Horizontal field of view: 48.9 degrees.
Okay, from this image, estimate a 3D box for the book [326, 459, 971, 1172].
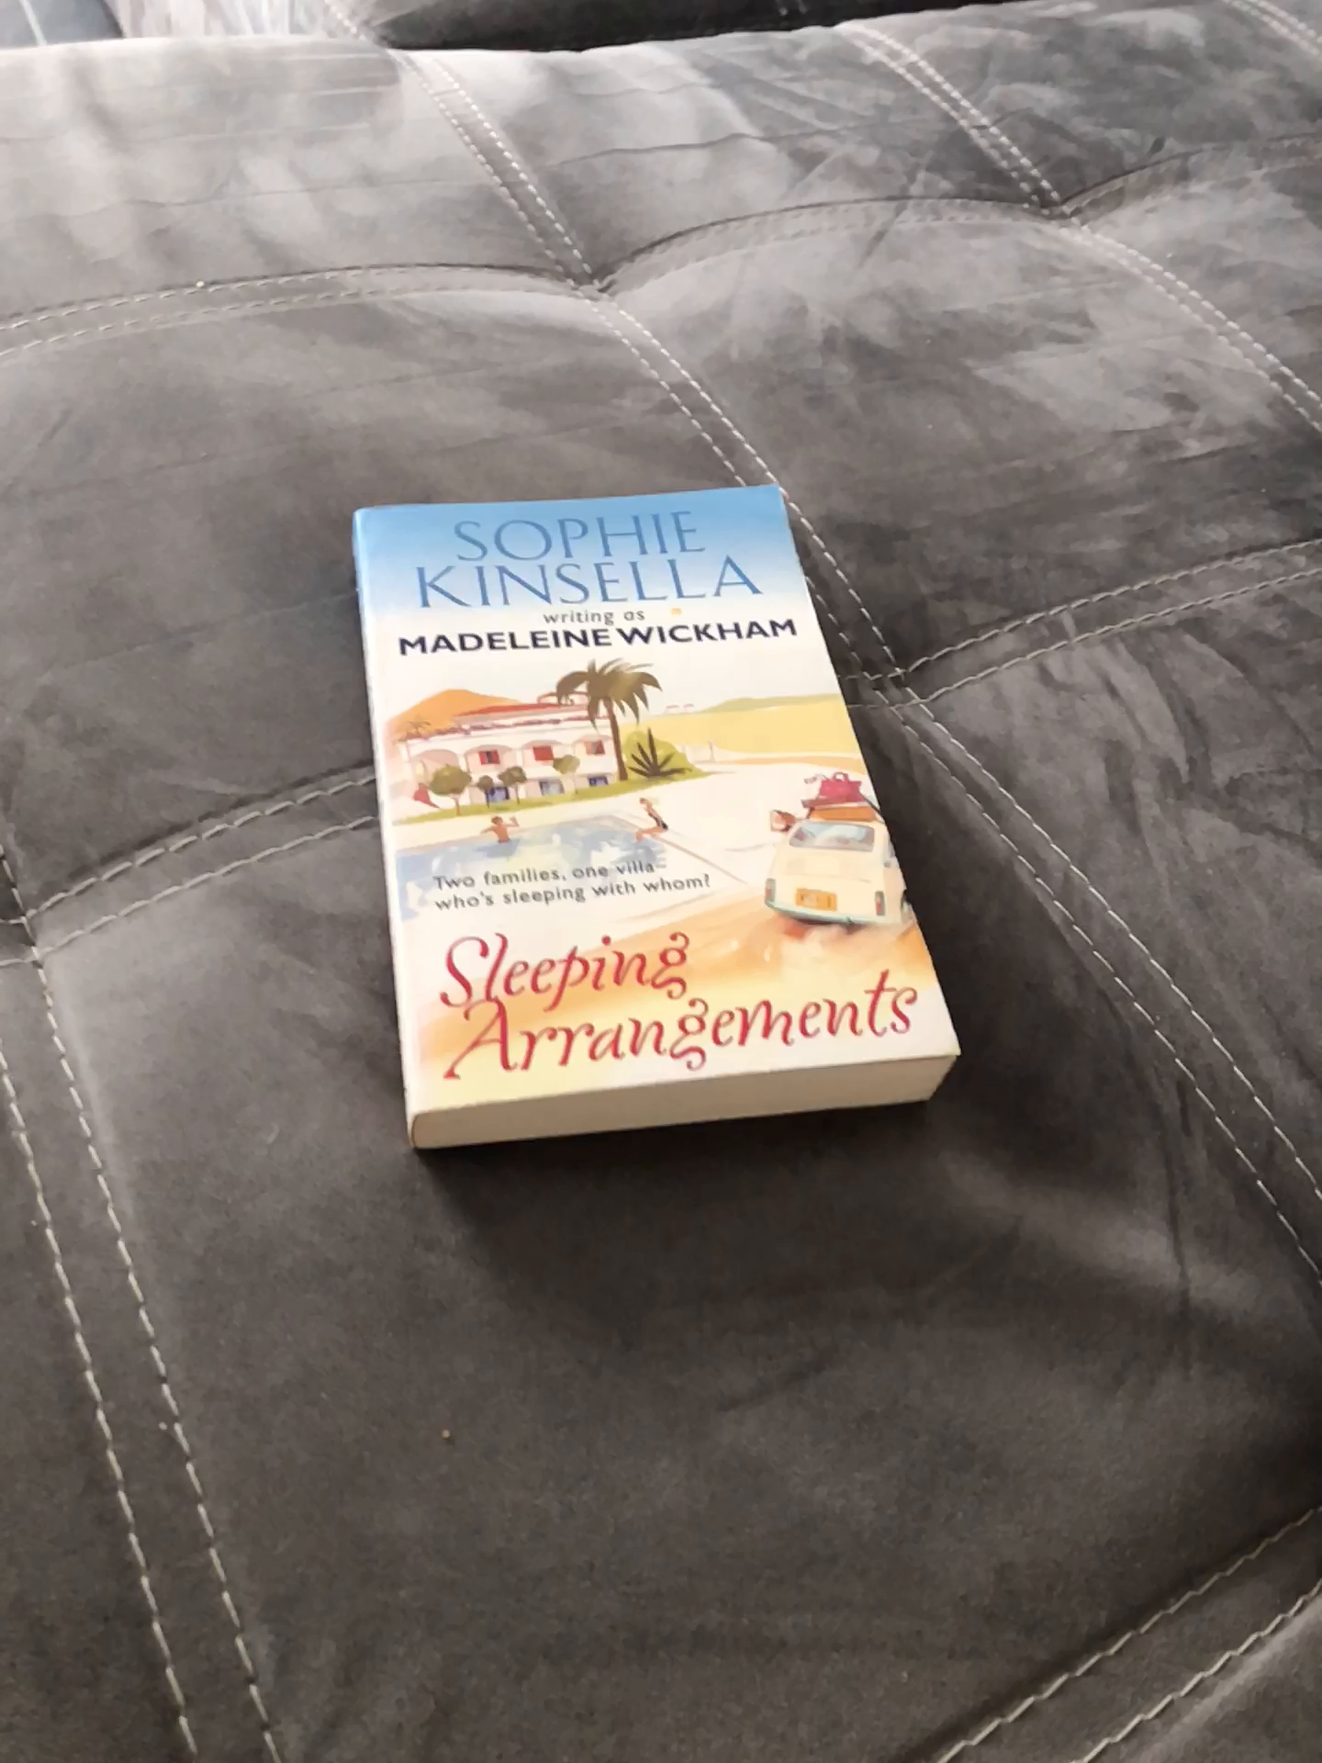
[{"bbox_3d":[-0.014,-0.031,0.376,0.130,0.030,0.200,-4,56,-12],"label":"book"}]
